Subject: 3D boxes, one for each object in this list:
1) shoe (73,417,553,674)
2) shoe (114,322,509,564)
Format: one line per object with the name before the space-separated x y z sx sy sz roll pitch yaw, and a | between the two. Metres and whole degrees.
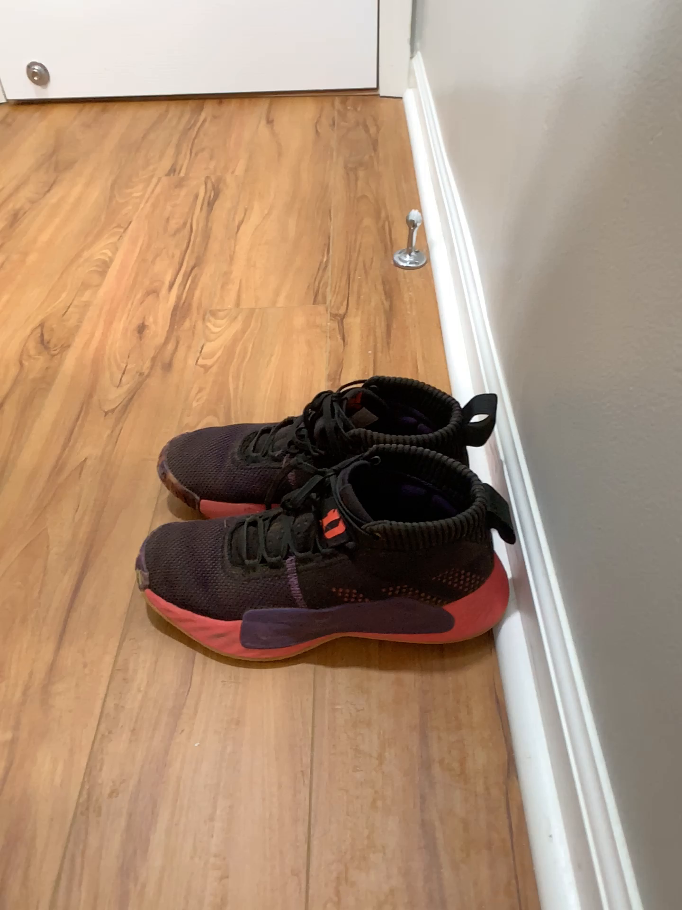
shoe | -0.015 0.064 0.501 0.285 0.131 0.120 1 43 3
shoe | -0.015 -0.013 0.582 0.285 0.131 0.120 5 44 7
